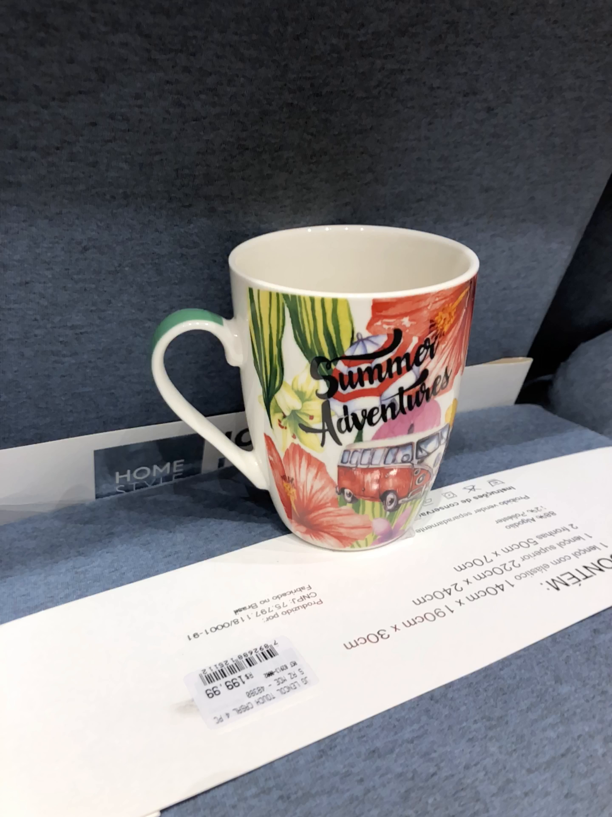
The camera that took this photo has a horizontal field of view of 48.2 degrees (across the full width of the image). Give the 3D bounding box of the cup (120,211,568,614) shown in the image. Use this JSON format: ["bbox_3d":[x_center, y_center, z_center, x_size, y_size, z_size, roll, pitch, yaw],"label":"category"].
[{"bbox_3d":[0.007,-0.010,0.230,0.110,0.090,0.090,-11,26,-22],"label":"cup"}]
